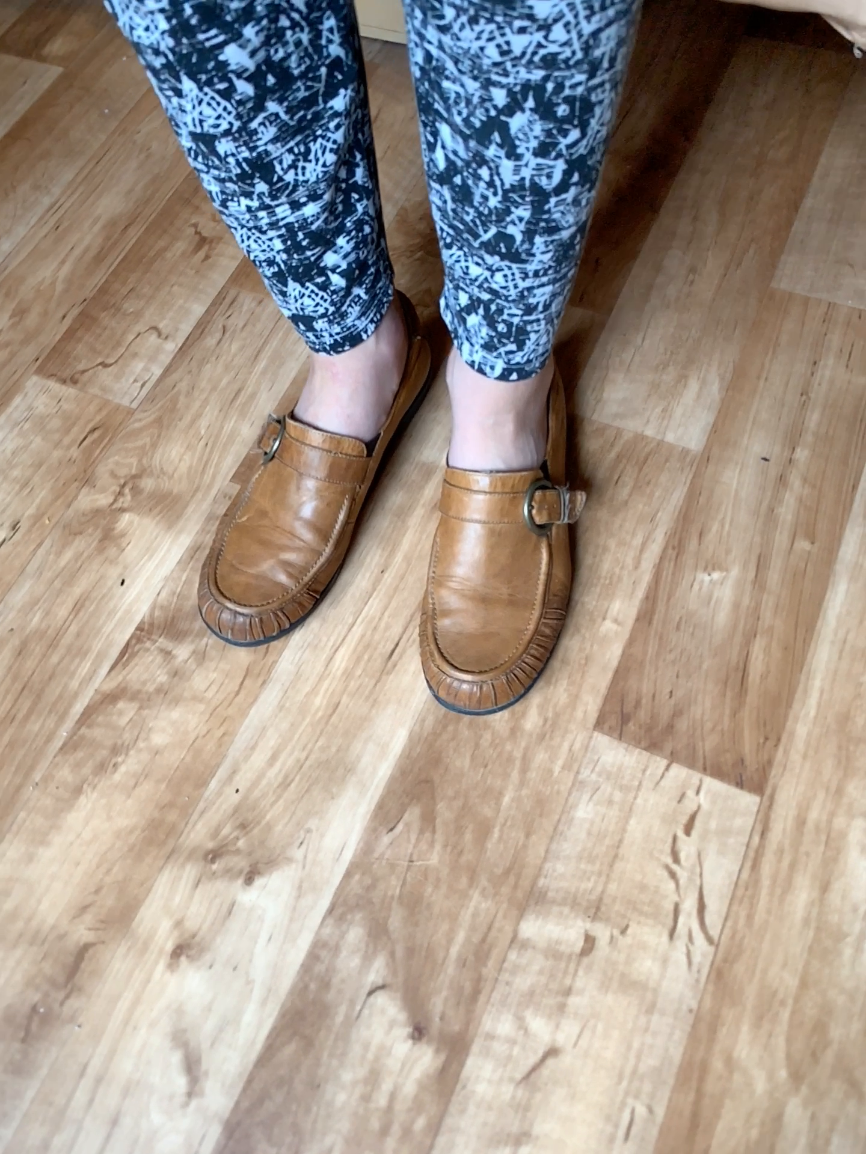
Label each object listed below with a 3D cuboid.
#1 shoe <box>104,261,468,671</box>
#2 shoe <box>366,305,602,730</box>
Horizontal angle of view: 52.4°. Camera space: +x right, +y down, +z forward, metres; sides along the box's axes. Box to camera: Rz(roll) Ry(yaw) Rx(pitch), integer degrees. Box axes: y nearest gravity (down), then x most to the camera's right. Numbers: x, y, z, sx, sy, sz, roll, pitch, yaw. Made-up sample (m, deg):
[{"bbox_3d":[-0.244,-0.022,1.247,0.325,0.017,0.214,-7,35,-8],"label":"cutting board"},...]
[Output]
[{"bbox_3d":[-0.065,-0.061,0.455,0.080,0.070,0.190,25,69,18],"label":"shoe"},{"bbox_3d":[0.031,-0.033,0.426,0.080,0.070,0.190,6,64,9],"label":"shoe"}]
